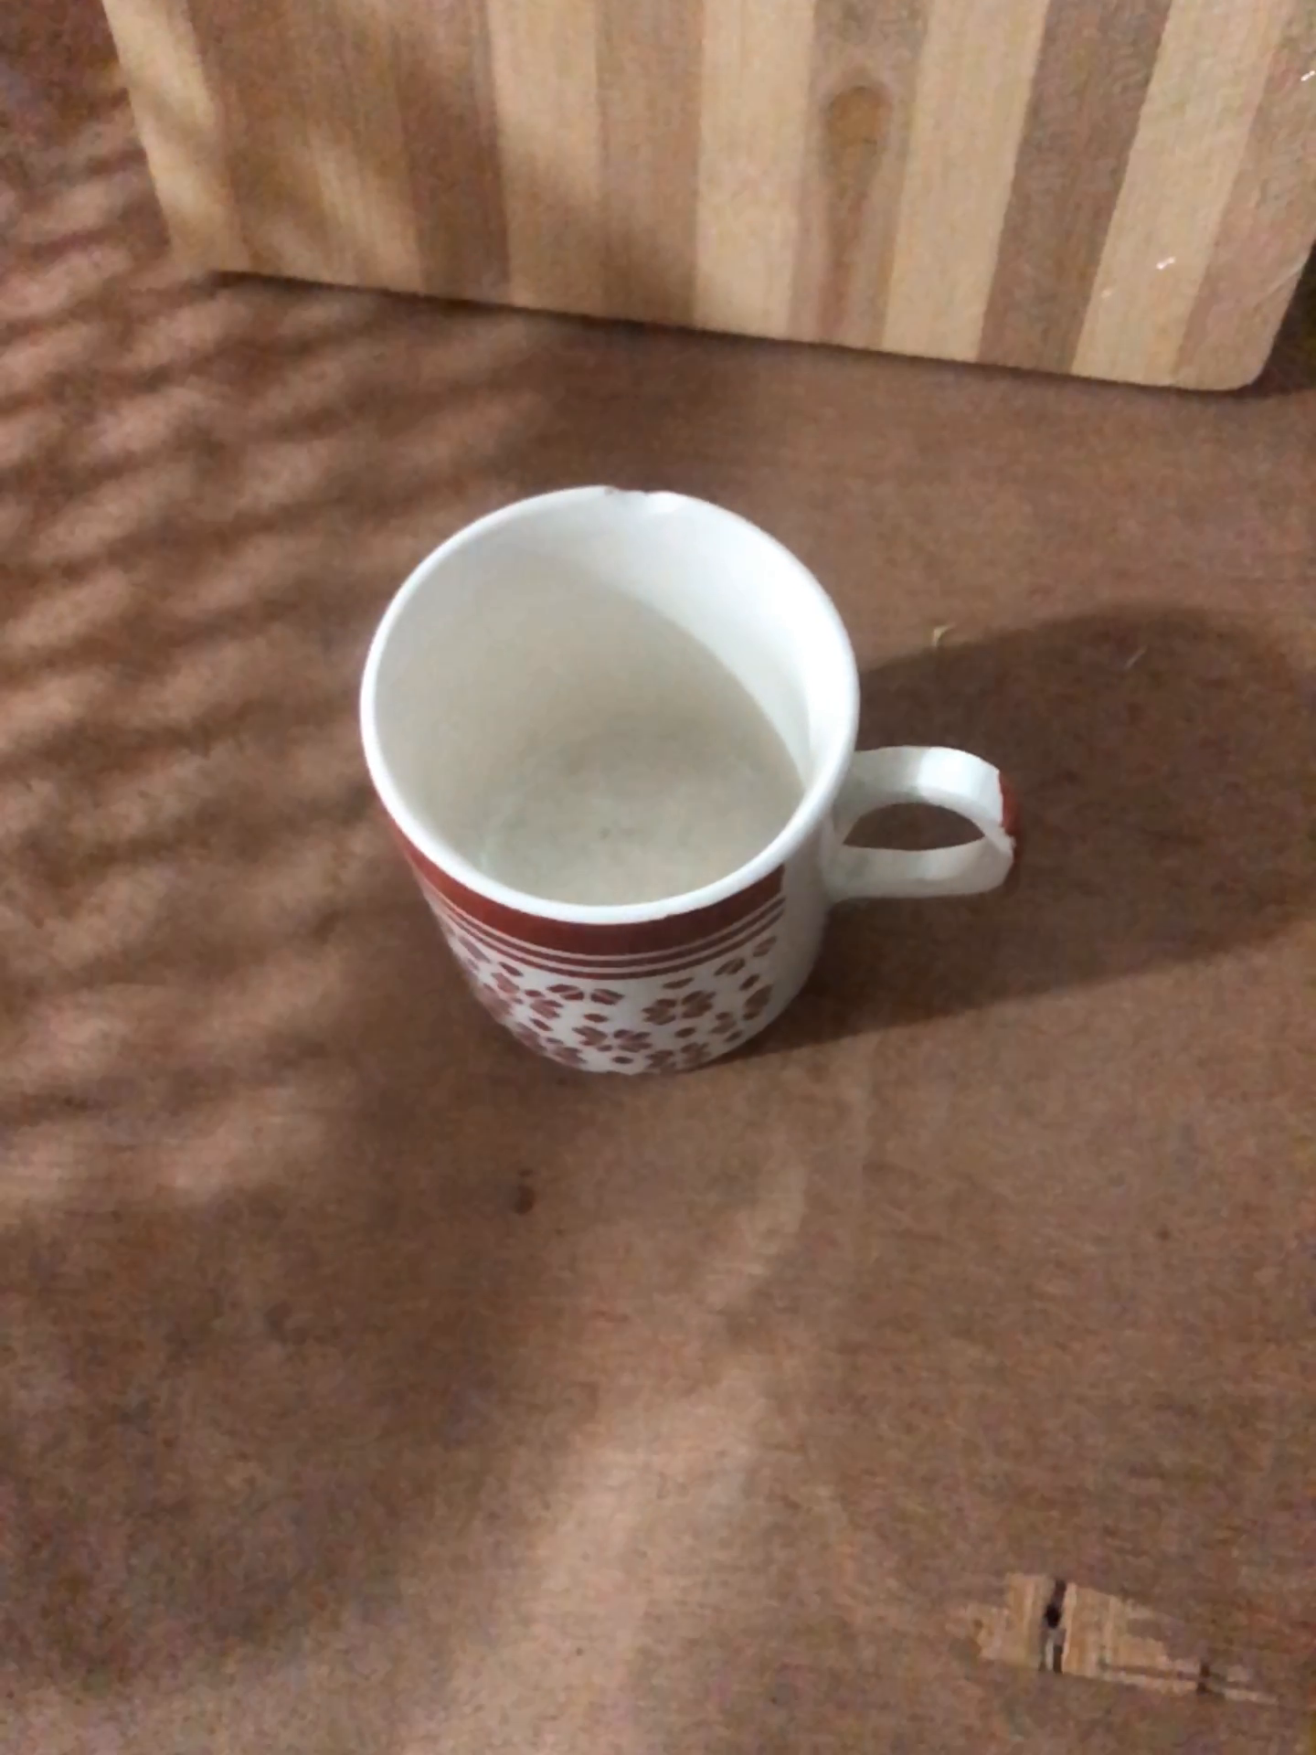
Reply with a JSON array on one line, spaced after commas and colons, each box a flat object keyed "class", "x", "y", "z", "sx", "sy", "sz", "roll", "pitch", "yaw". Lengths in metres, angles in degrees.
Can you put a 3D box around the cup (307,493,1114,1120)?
[{"class": "cup", "x": 0.009, "y": -0.006, "z": 0.213, "sx": 0.090, "sy": 0.080, "sz": 0.060, "roll": 1, "pitch": 67, "yaw": 4}]
